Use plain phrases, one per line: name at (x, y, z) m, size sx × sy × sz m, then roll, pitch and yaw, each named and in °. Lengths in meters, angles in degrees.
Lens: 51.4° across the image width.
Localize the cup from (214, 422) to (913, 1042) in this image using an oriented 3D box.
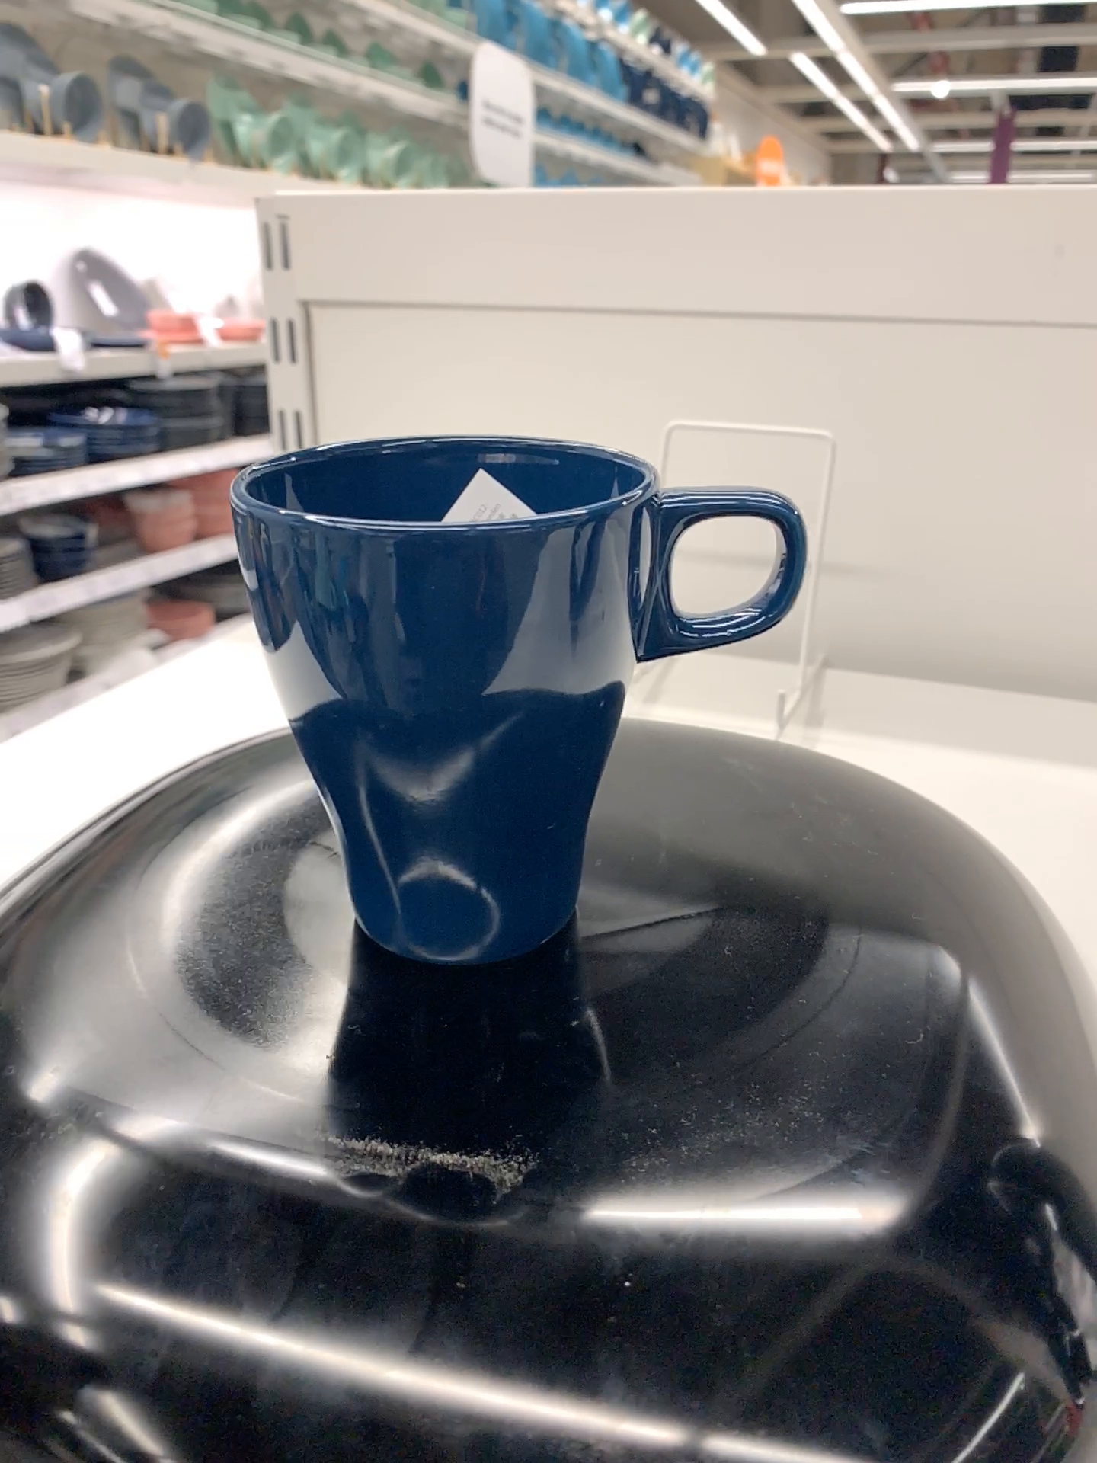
cup at (-0.005, -0.010, 0.247) m, size 0.120 × 0.100 × 0.090 m, roll -4°, pitch 22°, yaw -14°
